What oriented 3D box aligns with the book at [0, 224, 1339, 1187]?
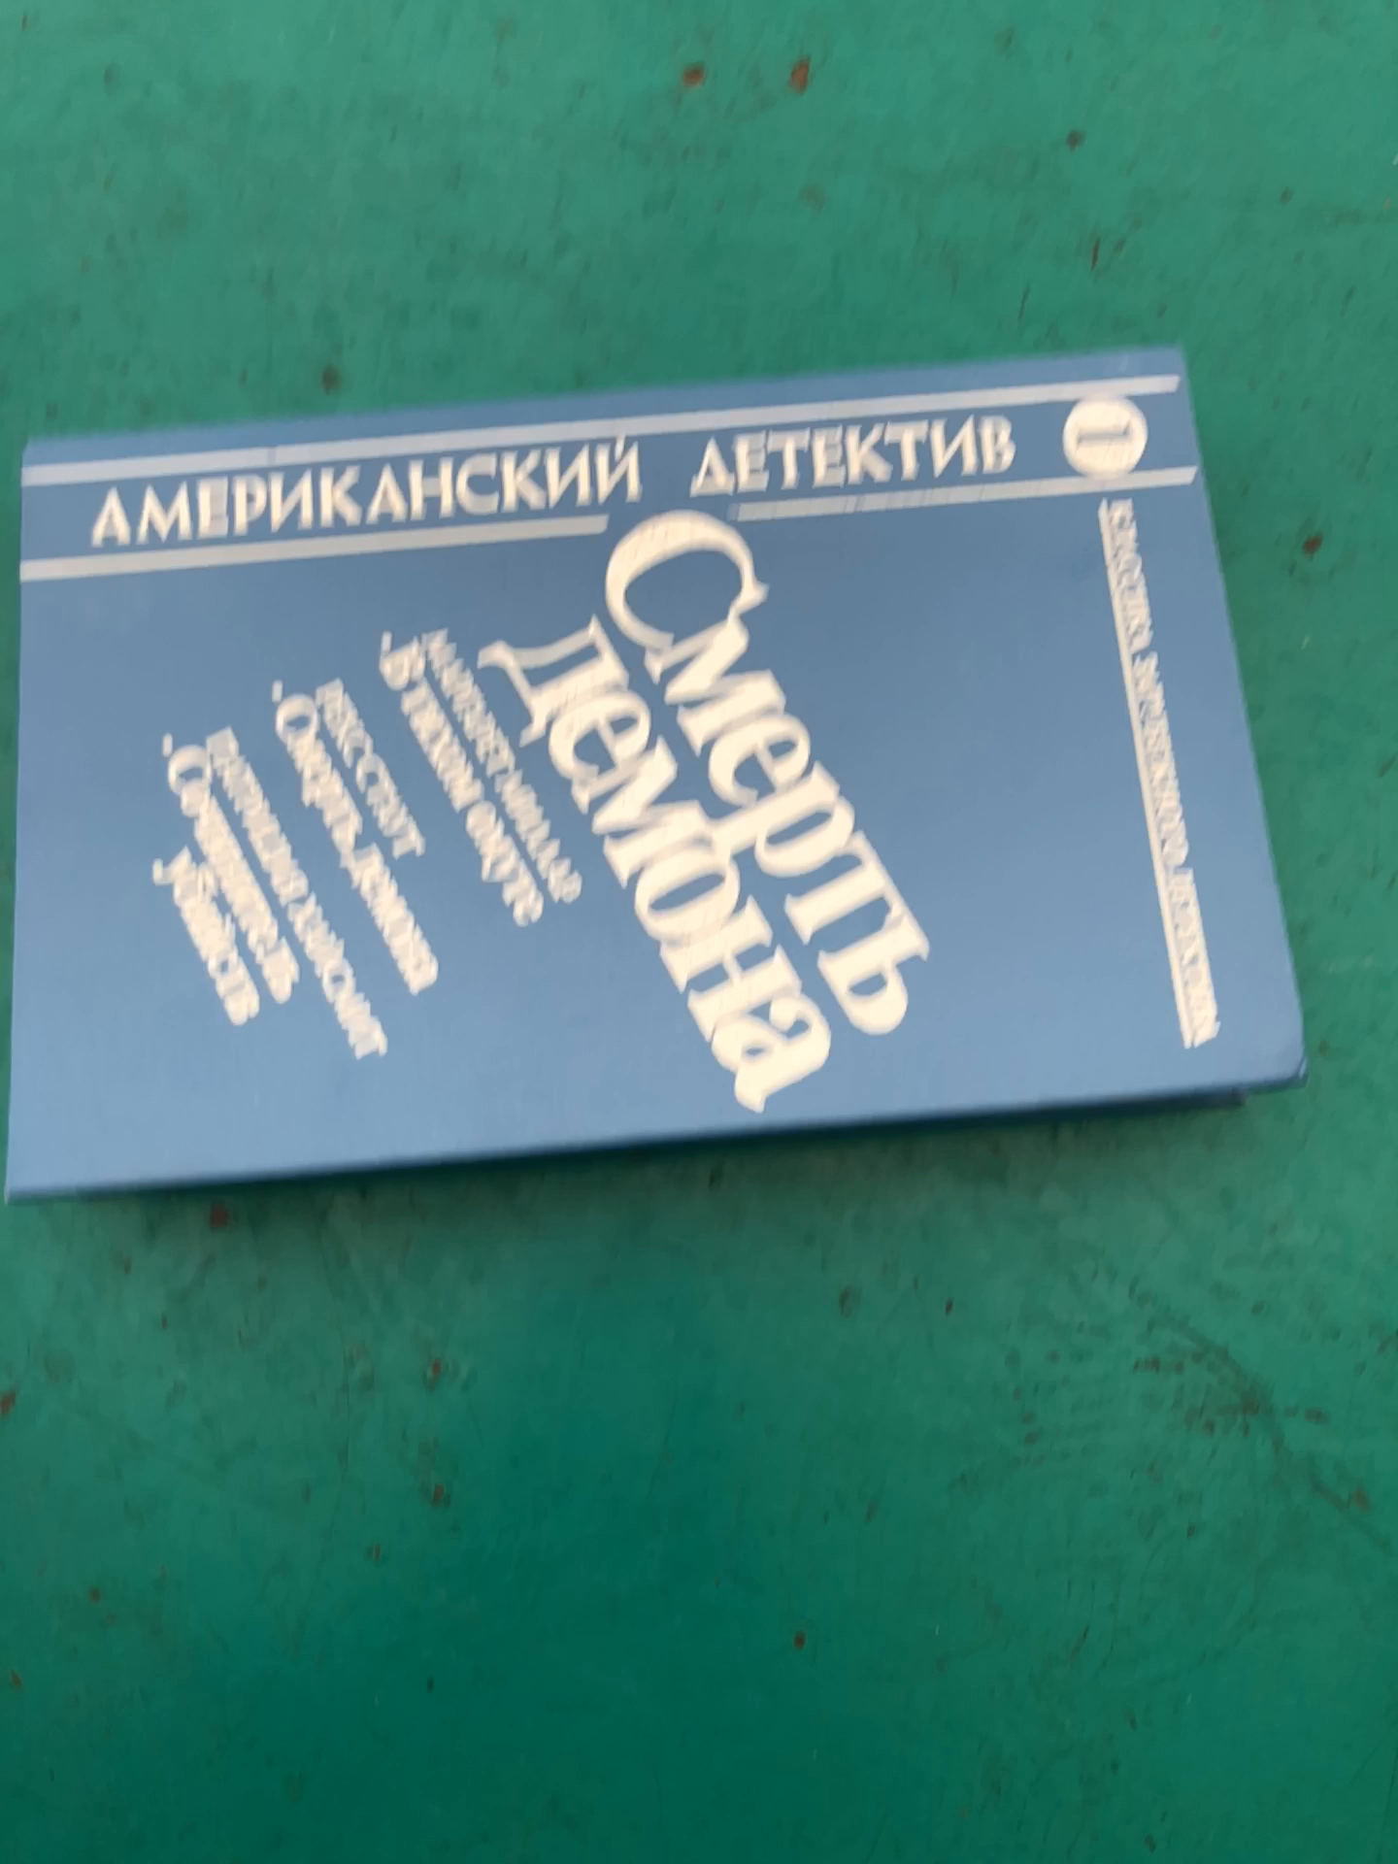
[{"bbox_3d":[-0.016,-0.039,0.262,0.212,0.034,0.142,-5,77,-2],"label":"book"}]
